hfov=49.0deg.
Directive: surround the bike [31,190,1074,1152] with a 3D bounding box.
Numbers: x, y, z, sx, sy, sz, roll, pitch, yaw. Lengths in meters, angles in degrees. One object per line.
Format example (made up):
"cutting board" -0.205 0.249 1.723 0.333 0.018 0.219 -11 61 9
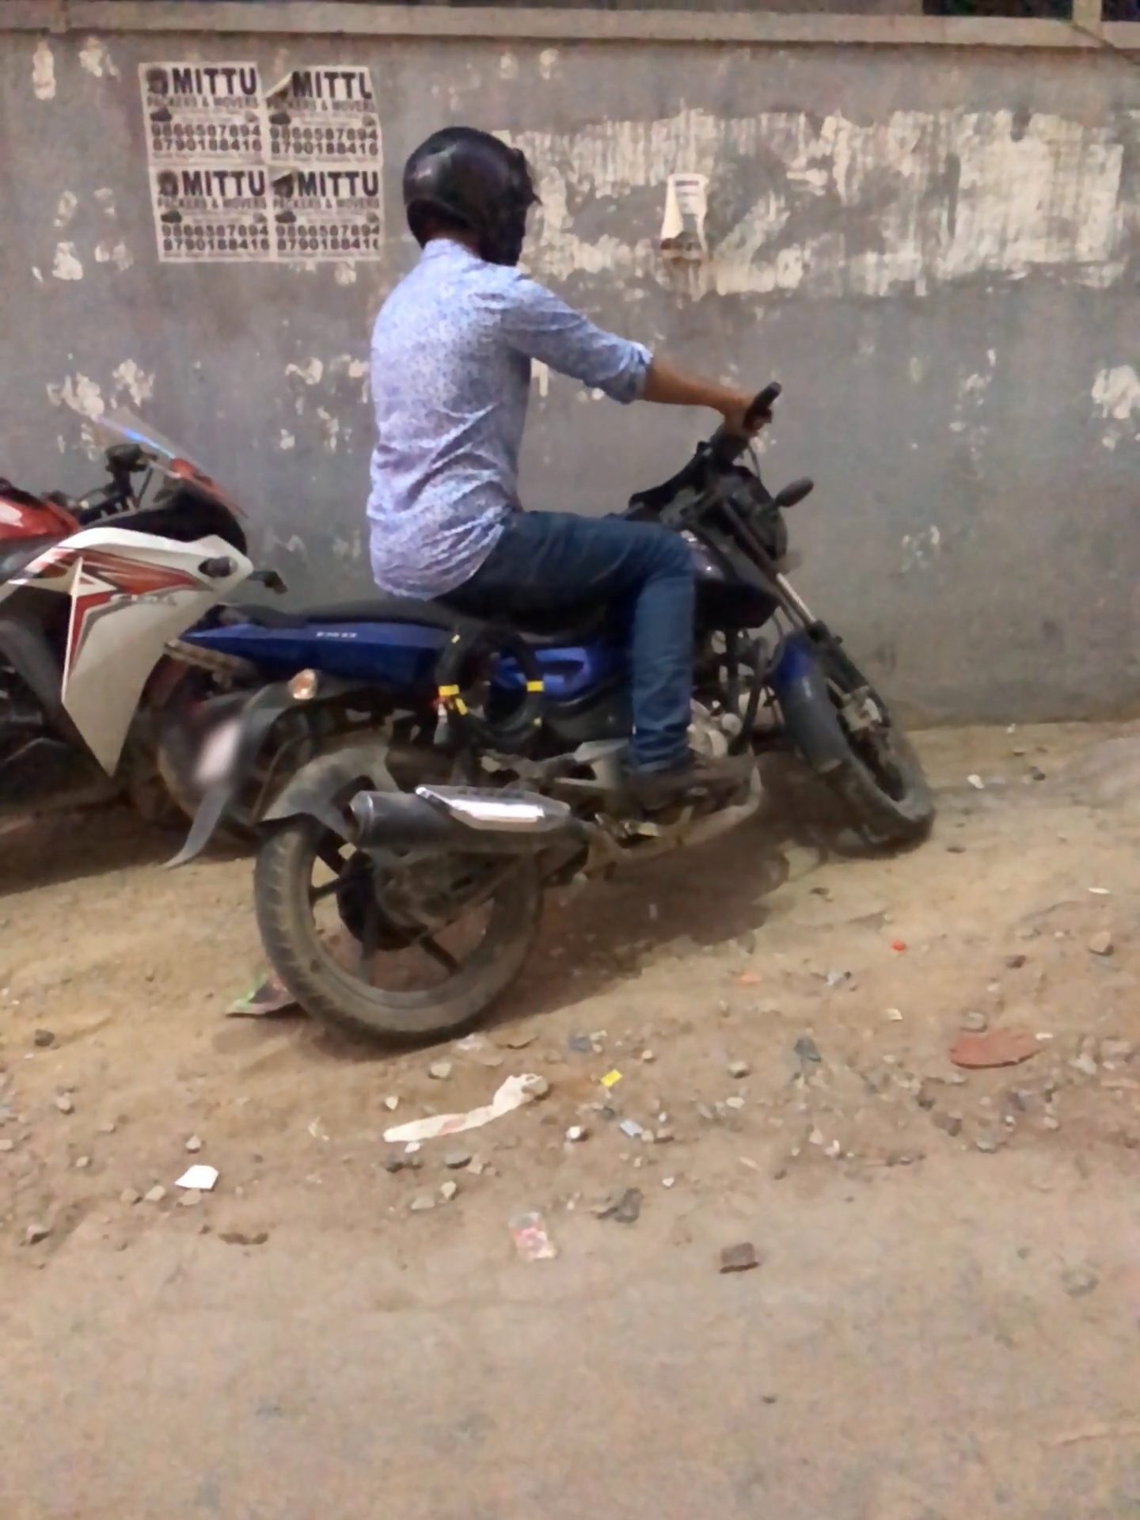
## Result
"bike" -0.003 -0.351 2.543 1.508 1.114 1.093 -28 32 -37
